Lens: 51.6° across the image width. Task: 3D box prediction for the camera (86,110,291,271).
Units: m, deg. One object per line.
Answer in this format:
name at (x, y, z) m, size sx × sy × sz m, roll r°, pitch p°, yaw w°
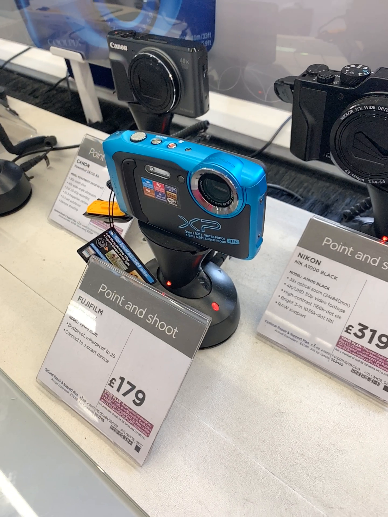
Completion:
camera at (-0.004, -0.042, 0.233) m, size 0.110 × 0.059 × 0.030 m, roll 21°, pitch 51°, yaw 25°
